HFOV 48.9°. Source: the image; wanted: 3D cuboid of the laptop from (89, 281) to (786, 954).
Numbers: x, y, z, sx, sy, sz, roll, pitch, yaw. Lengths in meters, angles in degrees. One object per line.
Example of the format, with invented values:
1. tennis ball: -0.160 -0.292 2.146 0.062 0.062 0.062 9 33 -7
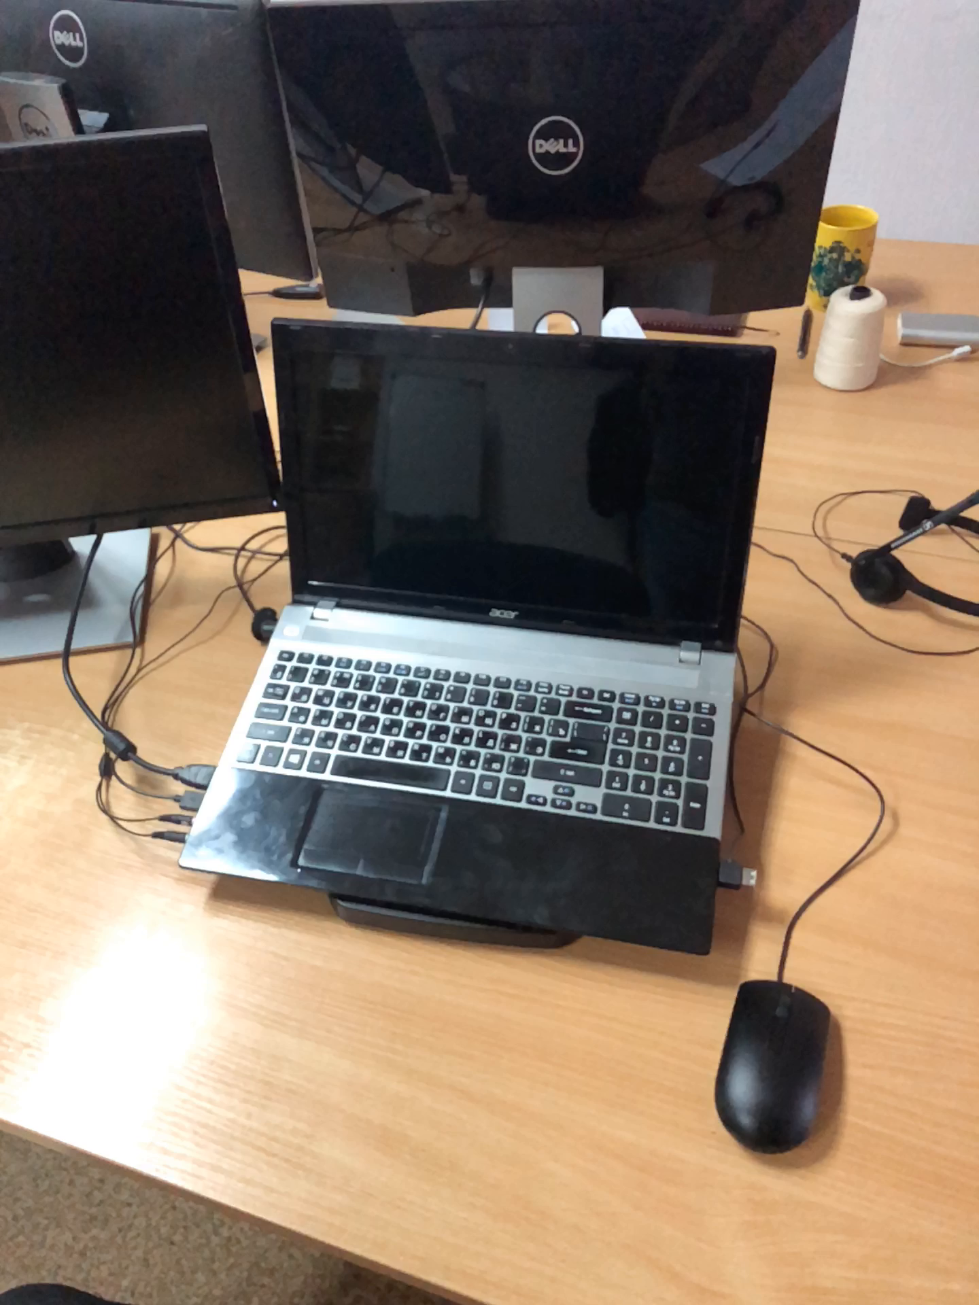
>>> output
1. laptop: -0.006 -0.046 0.756 0.370 0.215 0.353 7 51 12
